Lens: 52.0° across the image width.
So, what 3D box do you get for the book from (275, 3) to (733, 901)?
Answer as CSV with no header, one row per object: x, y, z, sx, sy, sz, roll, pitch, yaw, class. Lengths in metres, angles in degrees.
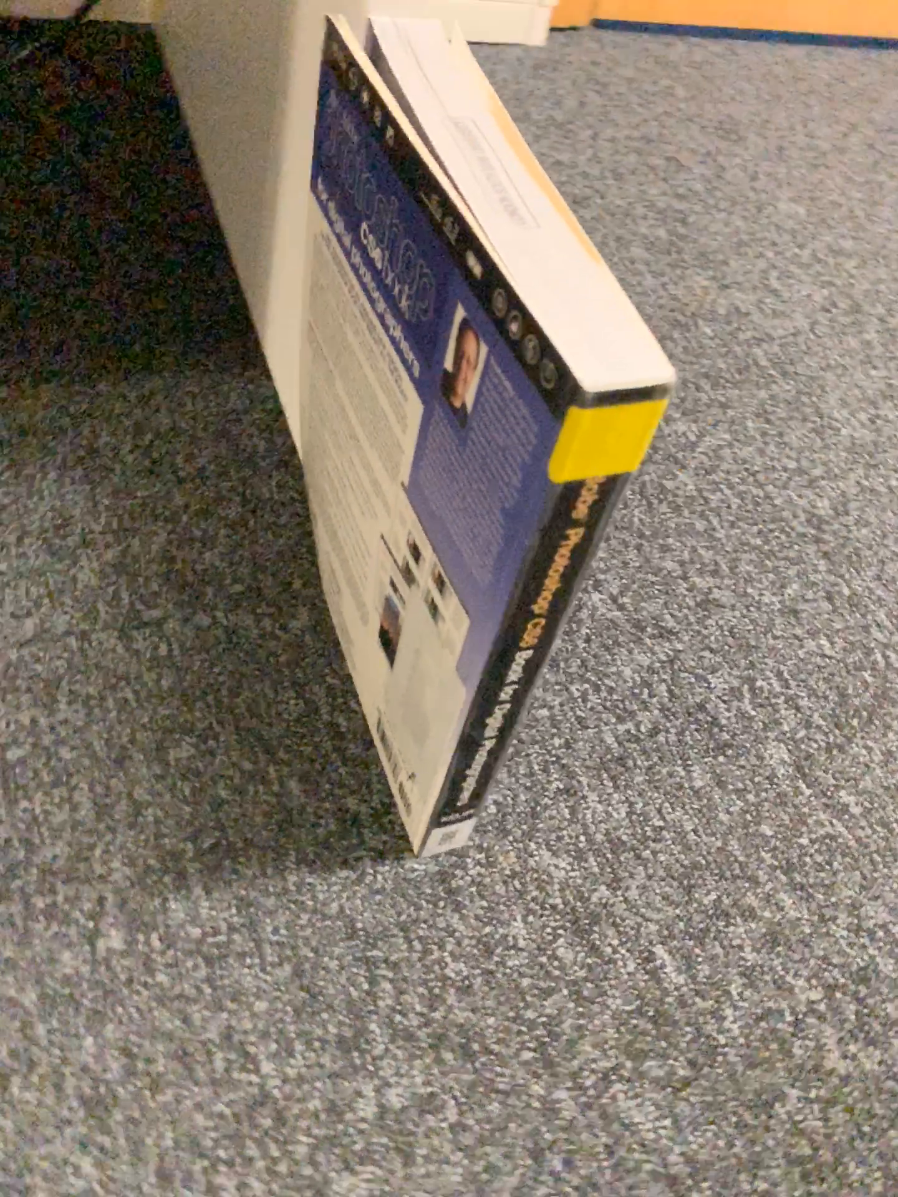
-0.017,-0.039,0.366,0.052,0.275,0.212,-8,54,-19,book
